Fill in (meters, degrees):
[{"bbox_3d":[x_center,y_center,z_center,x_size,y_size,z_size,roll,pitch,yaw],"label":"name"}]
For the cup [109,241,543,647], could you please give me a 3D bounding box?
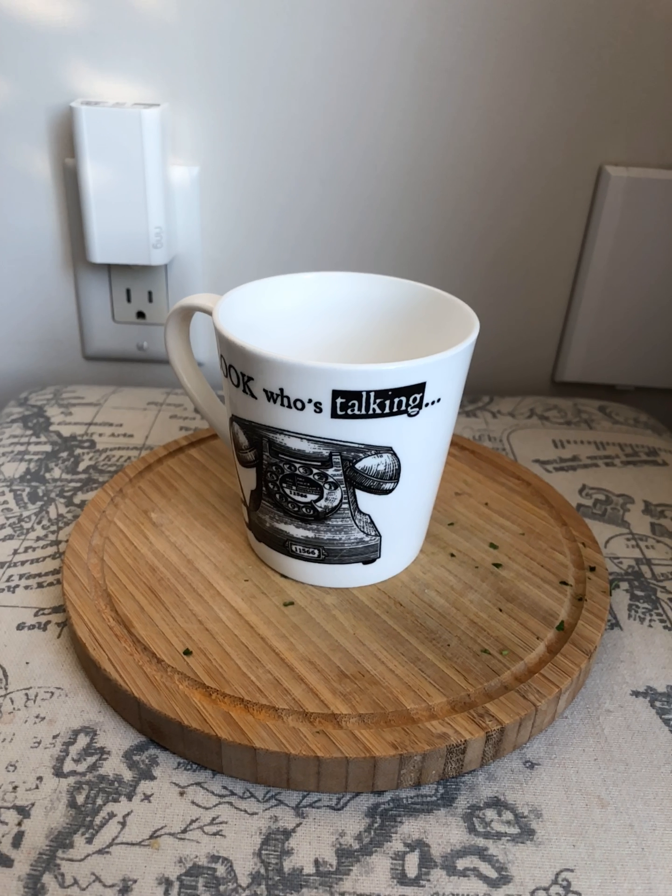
[{"bbox_3d":[-0.006,-0.012,0.270,0.111,0.086,0.091,25,35,33],"label":"cup"}]
